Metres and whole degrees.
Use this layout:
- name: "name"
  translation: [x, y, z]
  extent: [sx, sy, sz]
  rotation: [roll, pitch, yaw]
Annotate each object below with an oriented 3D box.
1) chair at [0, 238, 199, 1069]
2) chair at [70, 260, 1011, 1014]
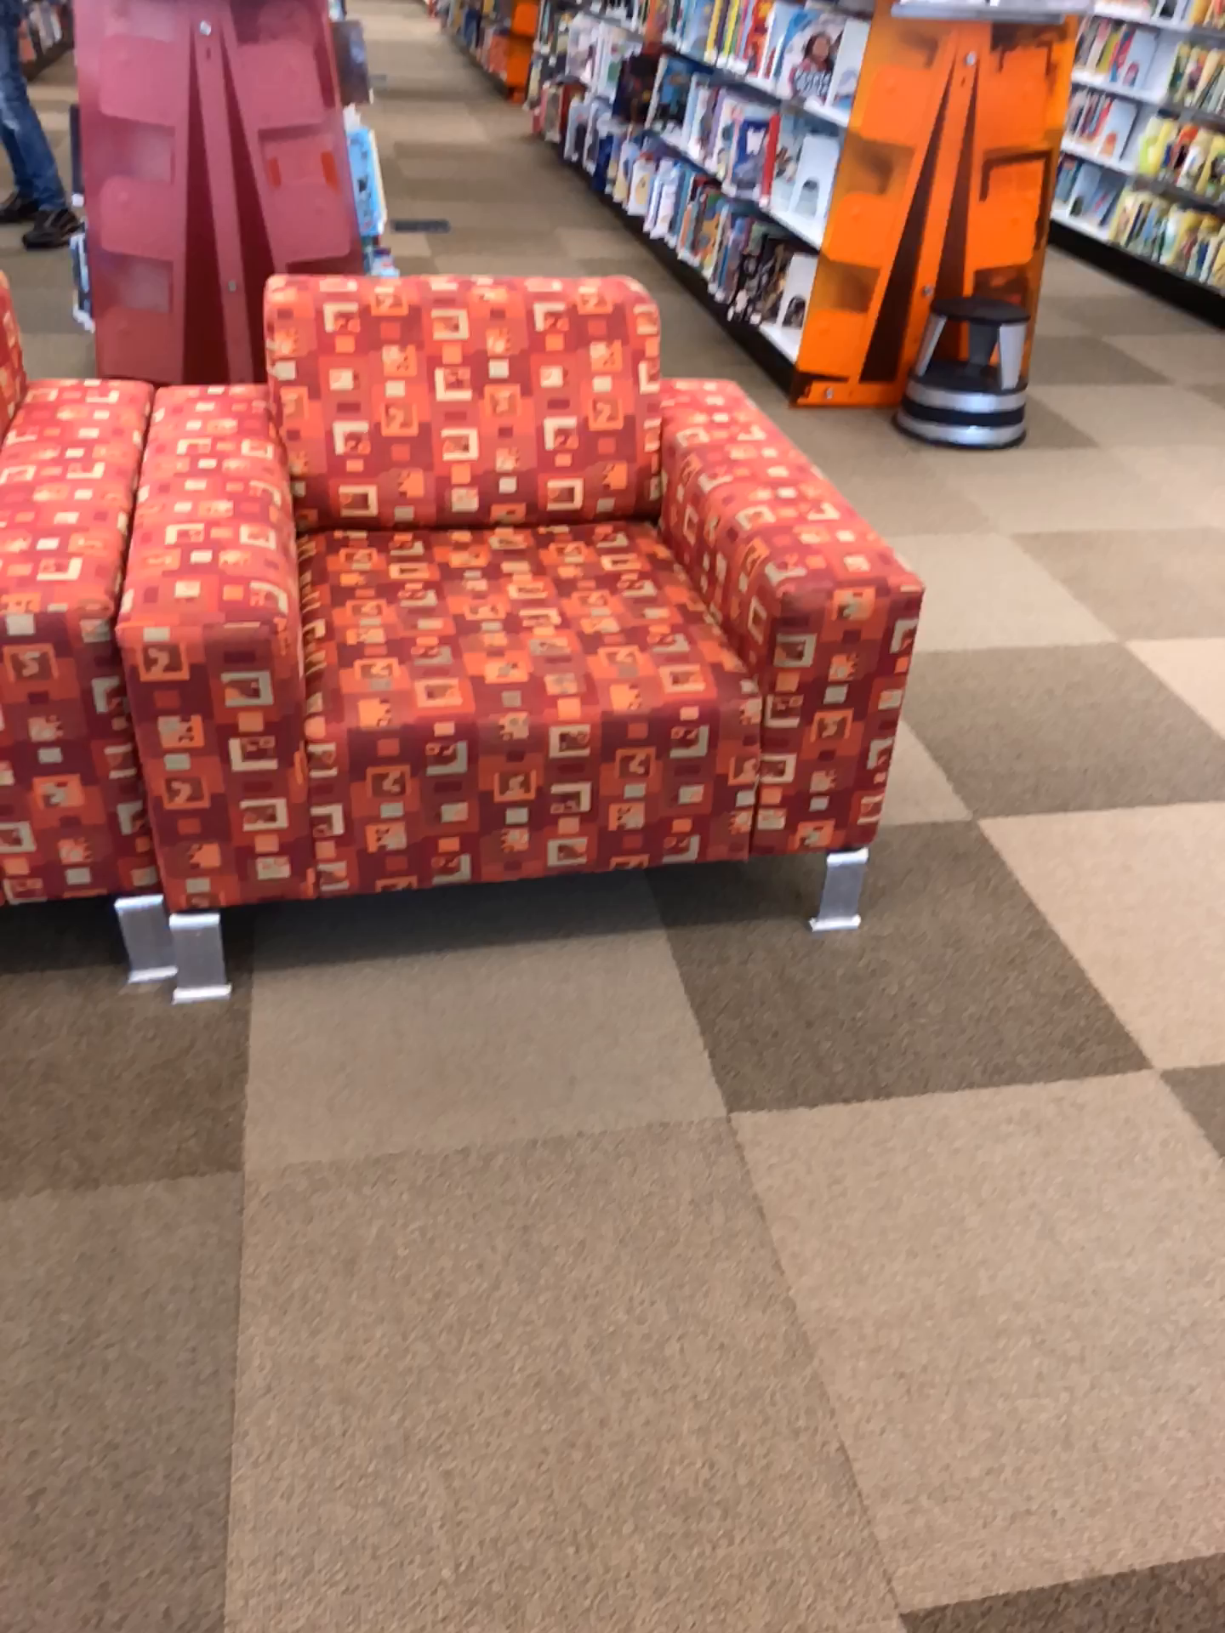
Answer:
- name: "chair"
  translation: [-1.103, -0.305, 1.838]
  extent: [0.919, 0.716, 0.957]
  rotation: [-4, 35, -12]
- name: "chair"
  translation: [-0.164, -0.351, 2.000]
  extent: [1.003, 0.686, 0.997]
  rotation: [-4, 35, -12]
